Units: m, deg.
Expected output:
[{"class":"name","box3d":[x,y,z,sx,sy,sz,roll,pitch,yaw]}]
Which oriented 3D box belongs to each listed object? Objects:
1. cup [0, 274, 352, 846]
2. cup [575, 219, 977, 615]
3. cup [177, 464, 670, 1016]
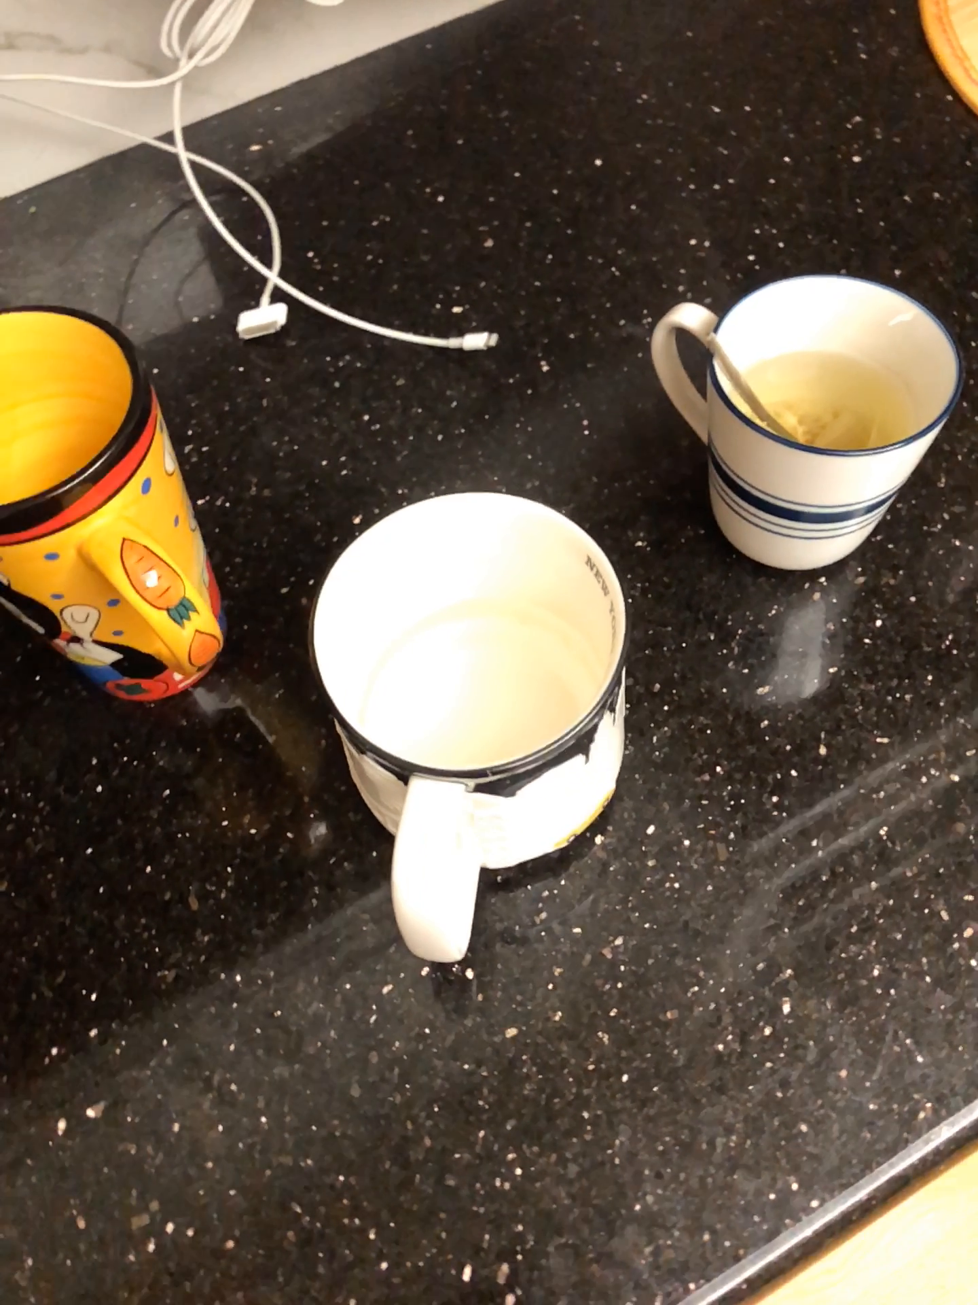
[{"class":"cup","box3d":[-0.143,-0.034,0.381,0.100,0.100,0.150,-41,65,-18]},{"class":"cup","box3d":[0.108,-0.093,0.415,0.120,0.060,0.090,39,70,23]},{"class":"cup","box3d":[-0.012,0.026,0.357,0.110,0.080,0.140,12,61,12]}]
